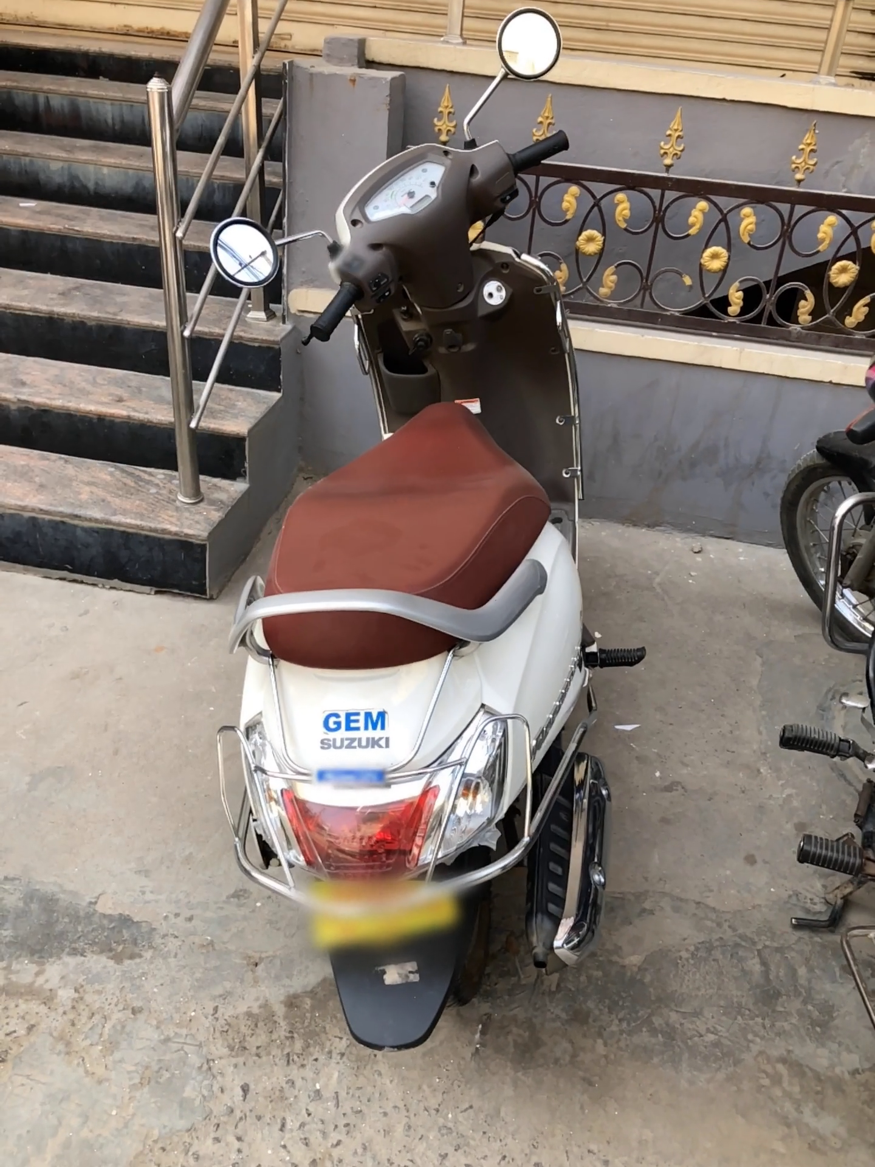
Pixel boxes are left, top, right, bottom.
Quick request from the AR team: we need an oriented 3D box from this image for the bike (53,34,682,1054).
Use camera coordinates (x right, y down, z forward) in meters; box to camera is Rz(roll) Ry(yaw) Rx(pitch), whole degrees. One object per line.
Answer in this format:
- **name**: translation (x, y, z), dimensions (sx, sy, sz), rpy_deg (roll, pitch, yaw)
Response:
- **bike**: translation (-0.080, -0.236, 1.815), dimensions (0.597, 1.194, 1.494), rpy_deg (5, 34, 0)
